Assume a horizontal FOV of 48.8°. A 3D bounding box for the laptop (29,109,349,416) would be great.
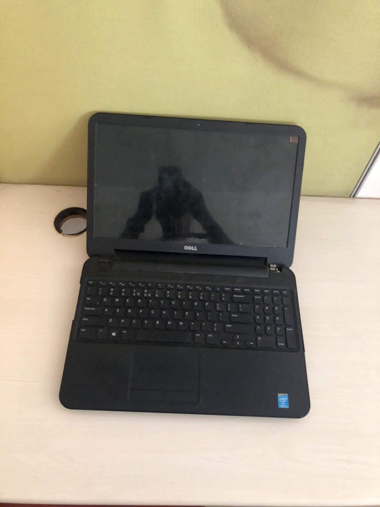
[{"bbox_3d":[0.004,0.000,0.642,0.355,0.158,0.429,3,58,-2],"label":"laptop"}]
